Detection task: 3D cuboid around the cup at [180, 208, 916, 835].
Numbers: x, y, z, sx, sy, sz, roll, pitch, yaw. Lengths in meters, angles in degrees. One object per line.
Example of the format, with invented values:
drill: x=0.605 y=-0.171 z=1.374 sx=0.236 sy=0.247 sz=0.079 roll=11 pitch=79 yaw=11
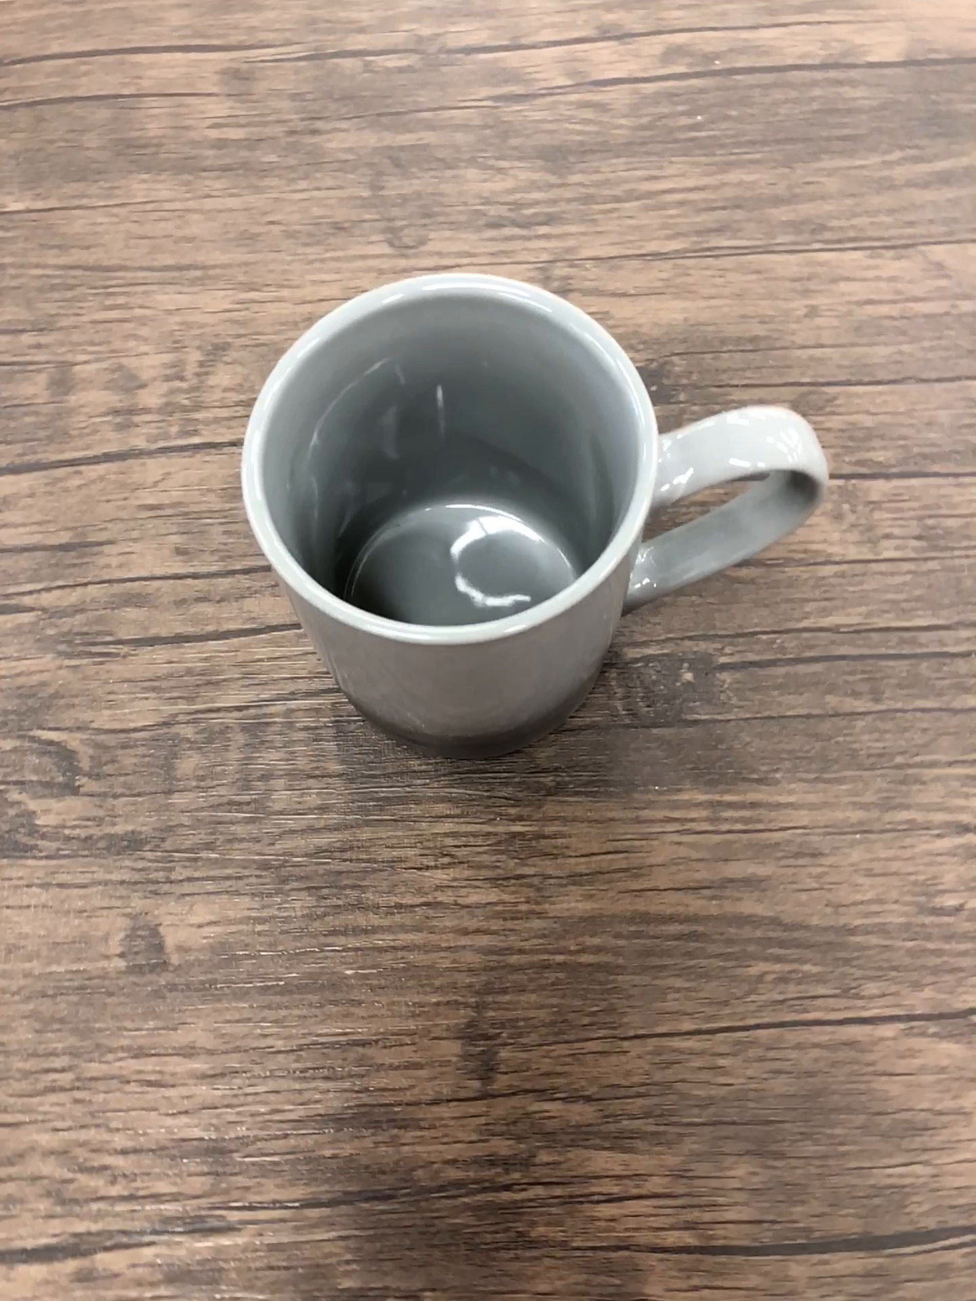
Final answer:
cup: x=0.009 y=-0.023 z=0.270 sx=0.130 sy=0.110 sz=0.090 roll=-12 pitch=70 yaw=-4
